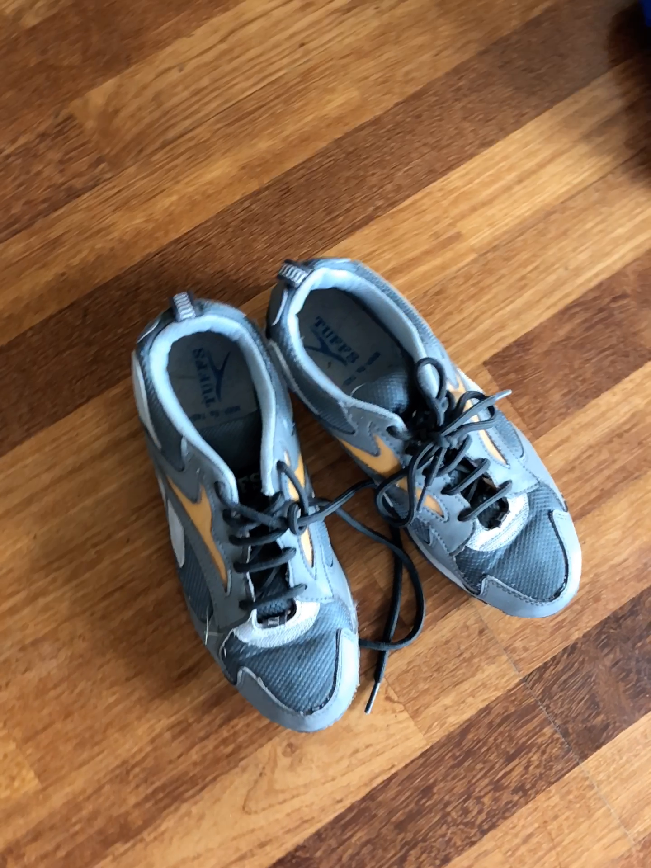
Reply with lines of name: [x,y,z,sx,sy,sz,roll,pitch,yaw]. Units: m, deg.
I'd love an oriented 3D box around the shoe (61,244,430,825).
shoe: [-0.048,0.050,0.420,0.110,0.088,0.283,-18,84,-8]

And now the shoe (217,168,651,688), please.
shoe: [0.068,-0.003,0.443,0.112,0.099,0.283,-39,86,-10]
